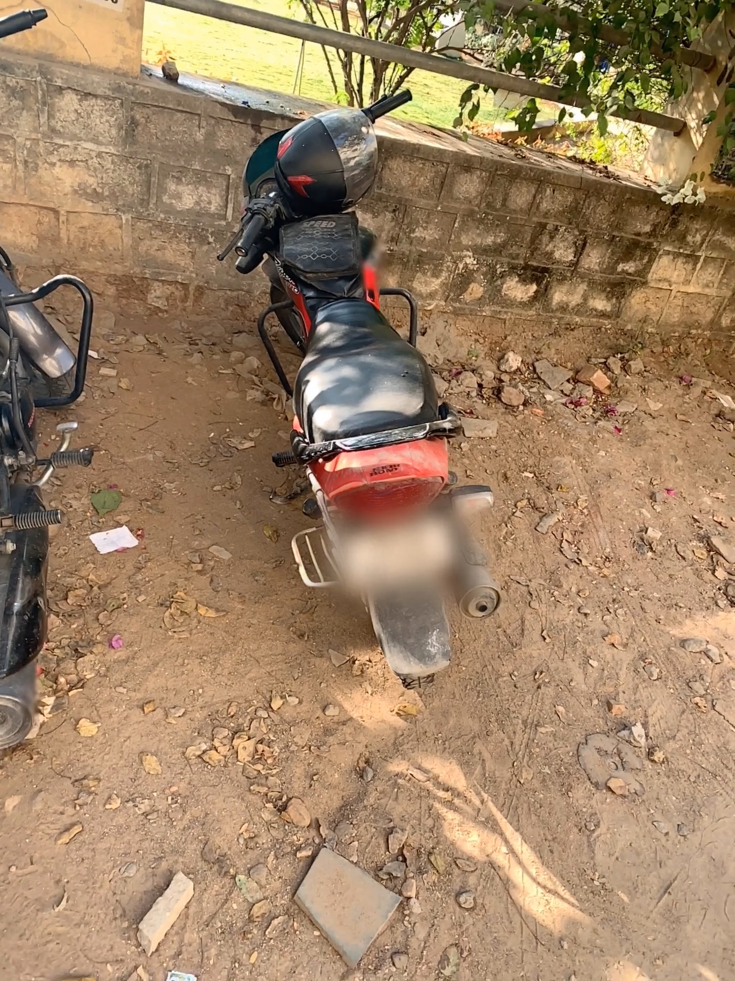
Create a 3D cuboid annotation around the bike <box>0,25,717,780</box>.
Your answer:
[{"bbox_3d":[-0.264,-0.338,1.999,1.064,1.245,1.602,4,34,-19],"label":"bike"}]
